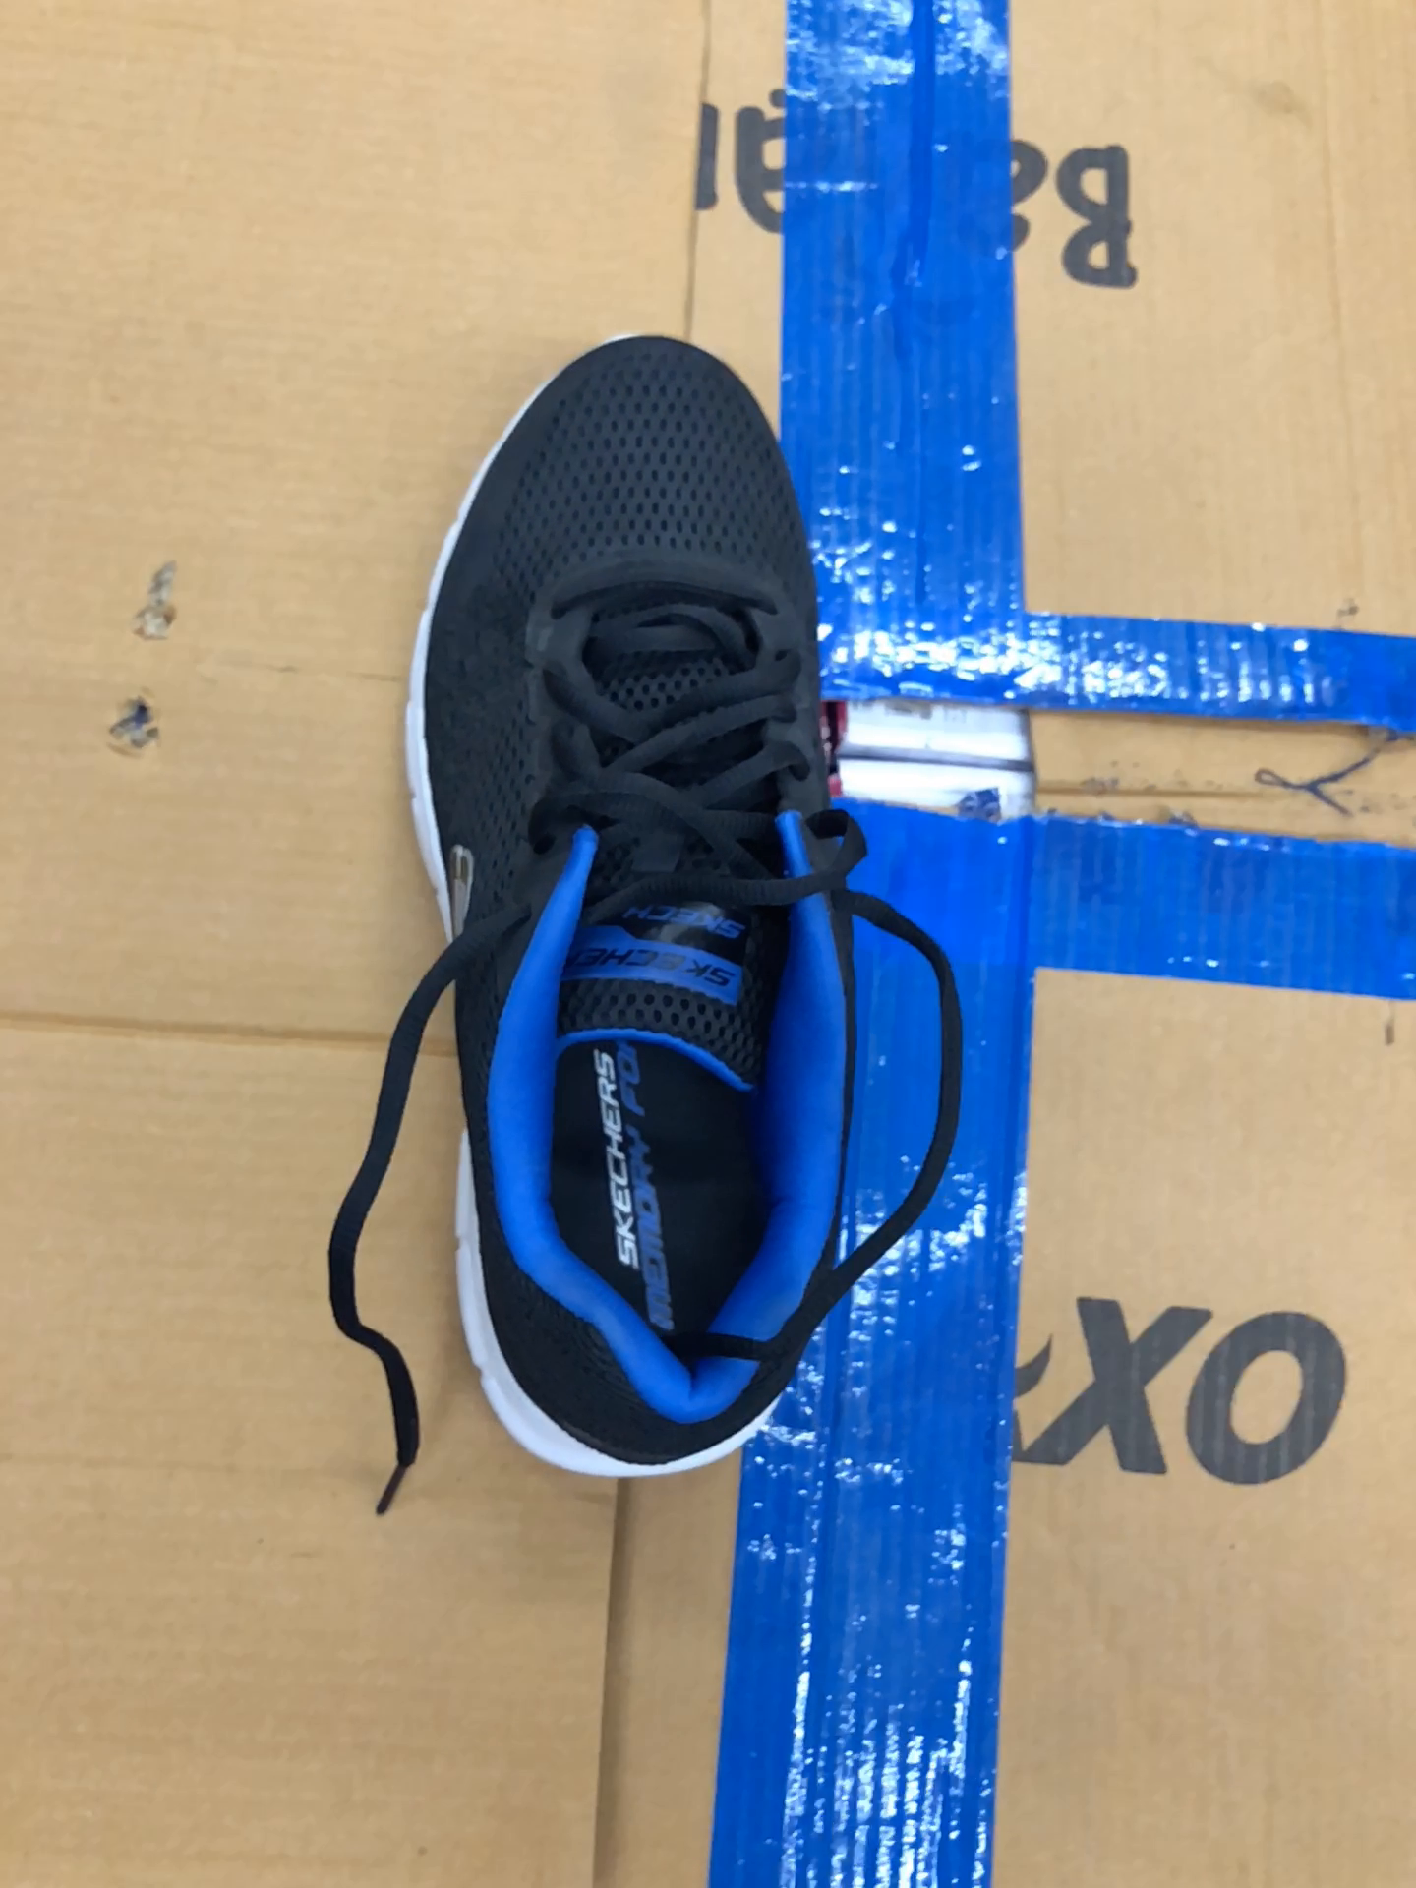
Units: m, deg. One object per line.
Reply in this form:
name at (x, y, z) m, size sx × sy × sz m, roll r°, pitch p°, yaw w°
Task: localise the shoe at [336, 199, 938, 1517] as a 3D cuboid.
shoe at (-0.015, -0.014, 0.380) m, size 0.110 × 0.130 × 0.270 m, roll 1°, pitch 78°, yaw -4°
